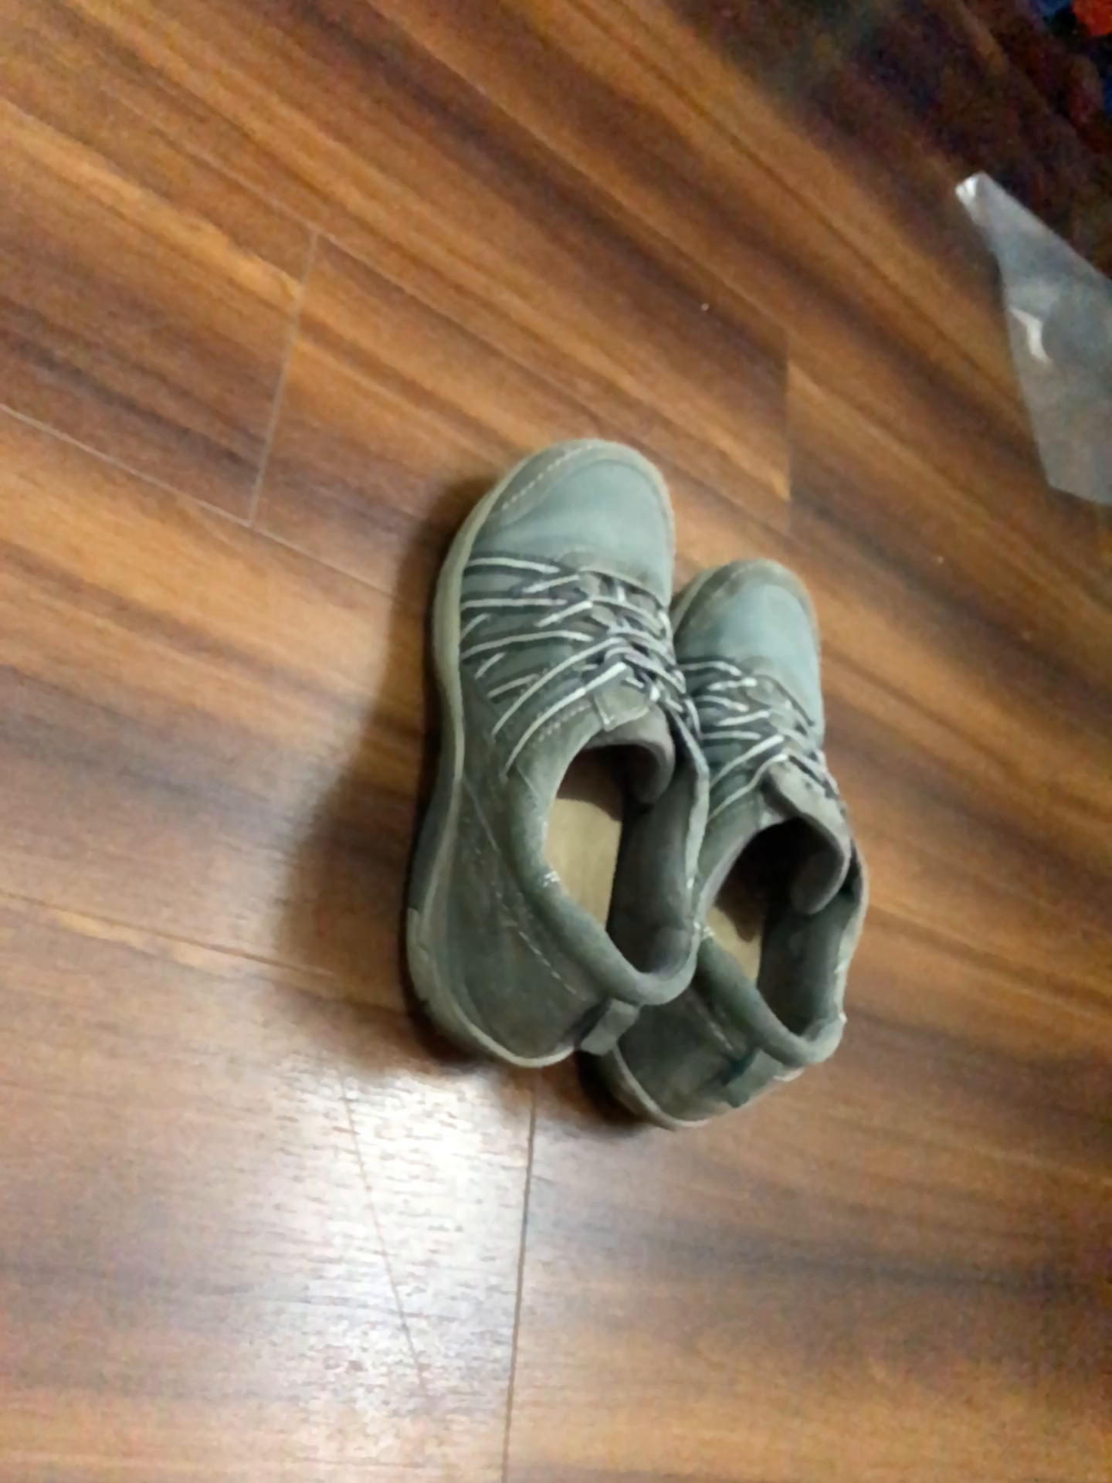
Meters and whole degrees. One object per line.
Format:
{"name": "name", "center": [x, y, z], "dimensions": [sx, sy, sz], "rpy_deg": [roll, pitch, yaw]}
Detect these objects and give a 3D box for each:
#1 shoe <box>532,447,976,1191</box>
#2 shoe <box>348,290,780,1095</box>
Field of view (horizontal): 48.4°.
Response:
{"name": "shoe", "center": [0.094, 0.028, 0.520], "dimensions": [0.100, 0.109, 0.281], "rpy_deg": [34, 52, -27]}
{"name": "shoe", "center": [0.012, -0.018, 0.487], "dimensions": [0.100, 0.109, 0.281], "rpy_deg": [25, 57, -33]}
